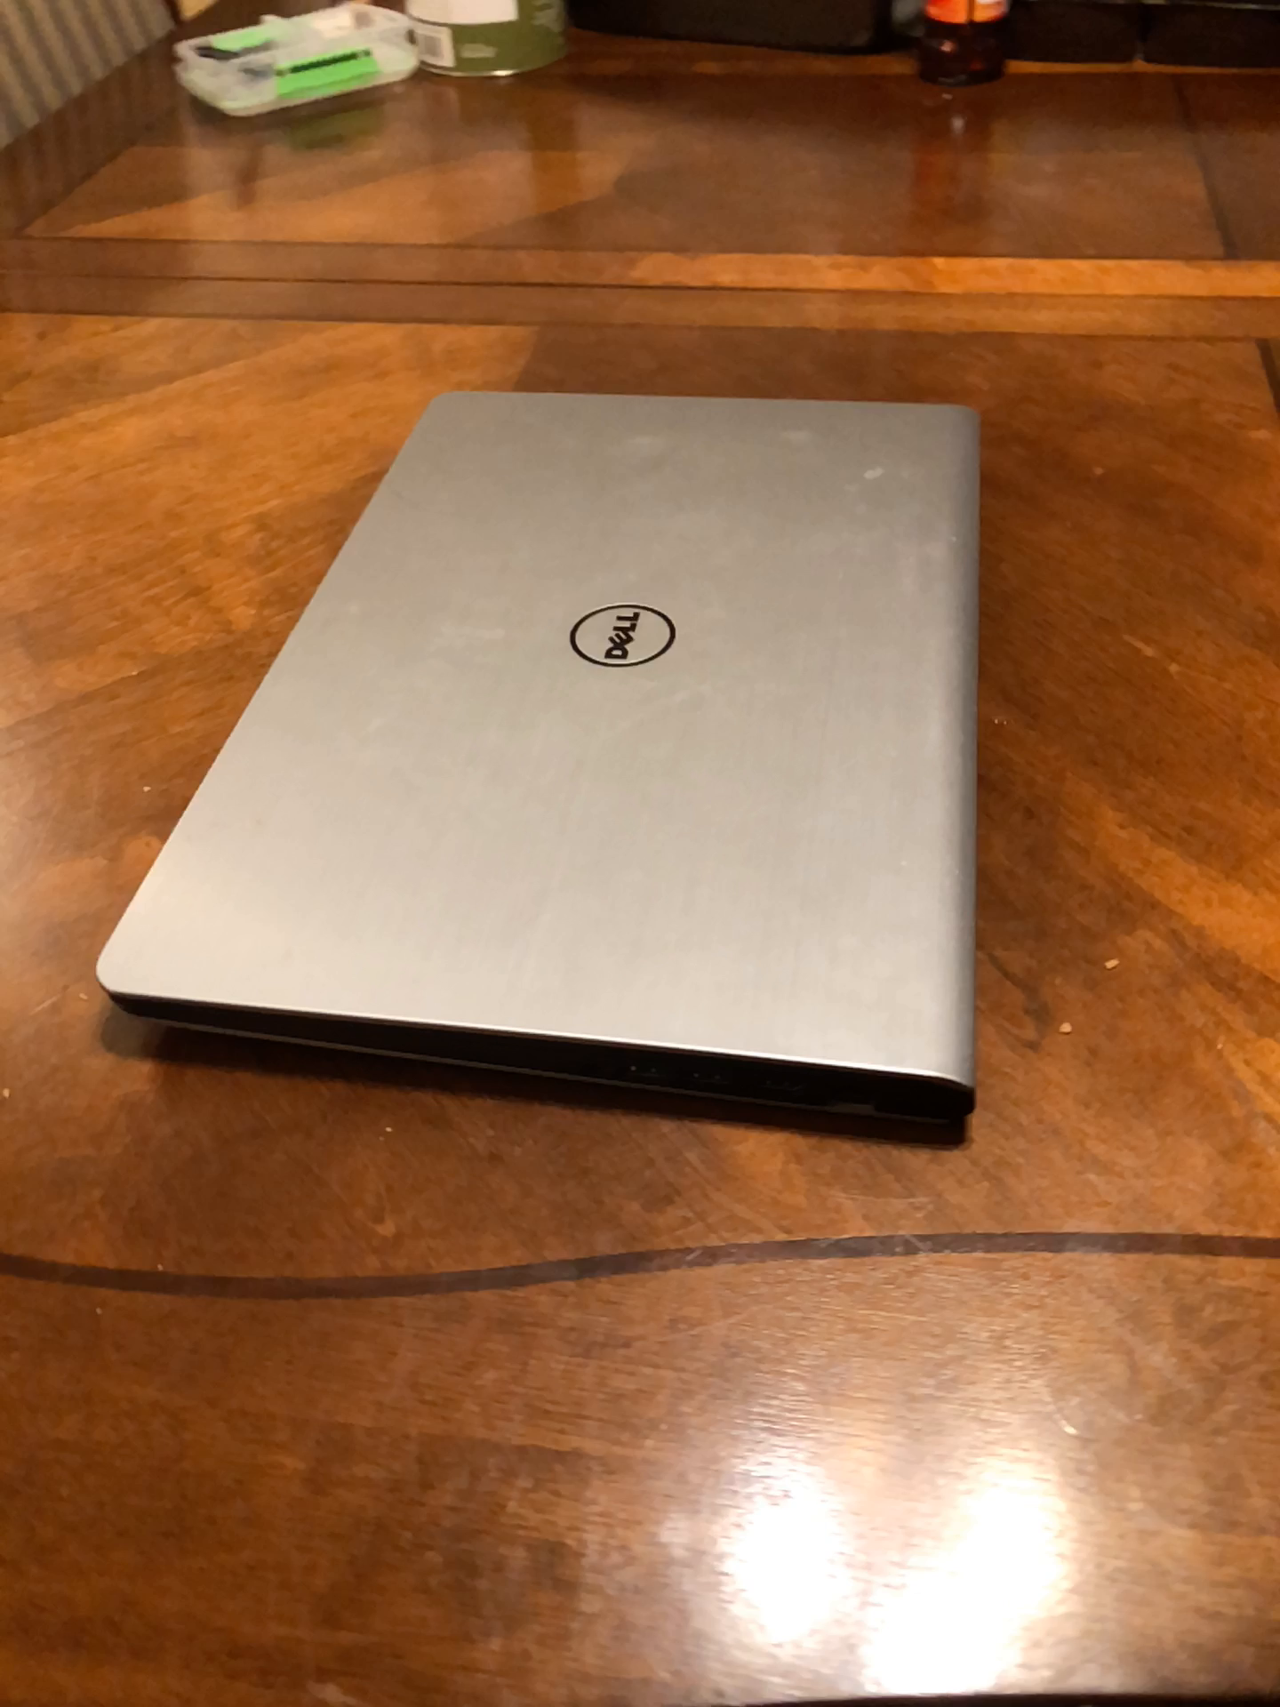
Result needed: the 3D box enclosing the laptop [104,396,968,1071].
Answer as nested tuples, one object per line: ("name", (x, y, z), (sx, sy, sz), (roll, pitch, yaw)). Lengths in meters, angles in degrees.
("laptop", (-0.004, -0.079, 0.516), (0.243, 0.002, 0.366), (5, 44, 9))
